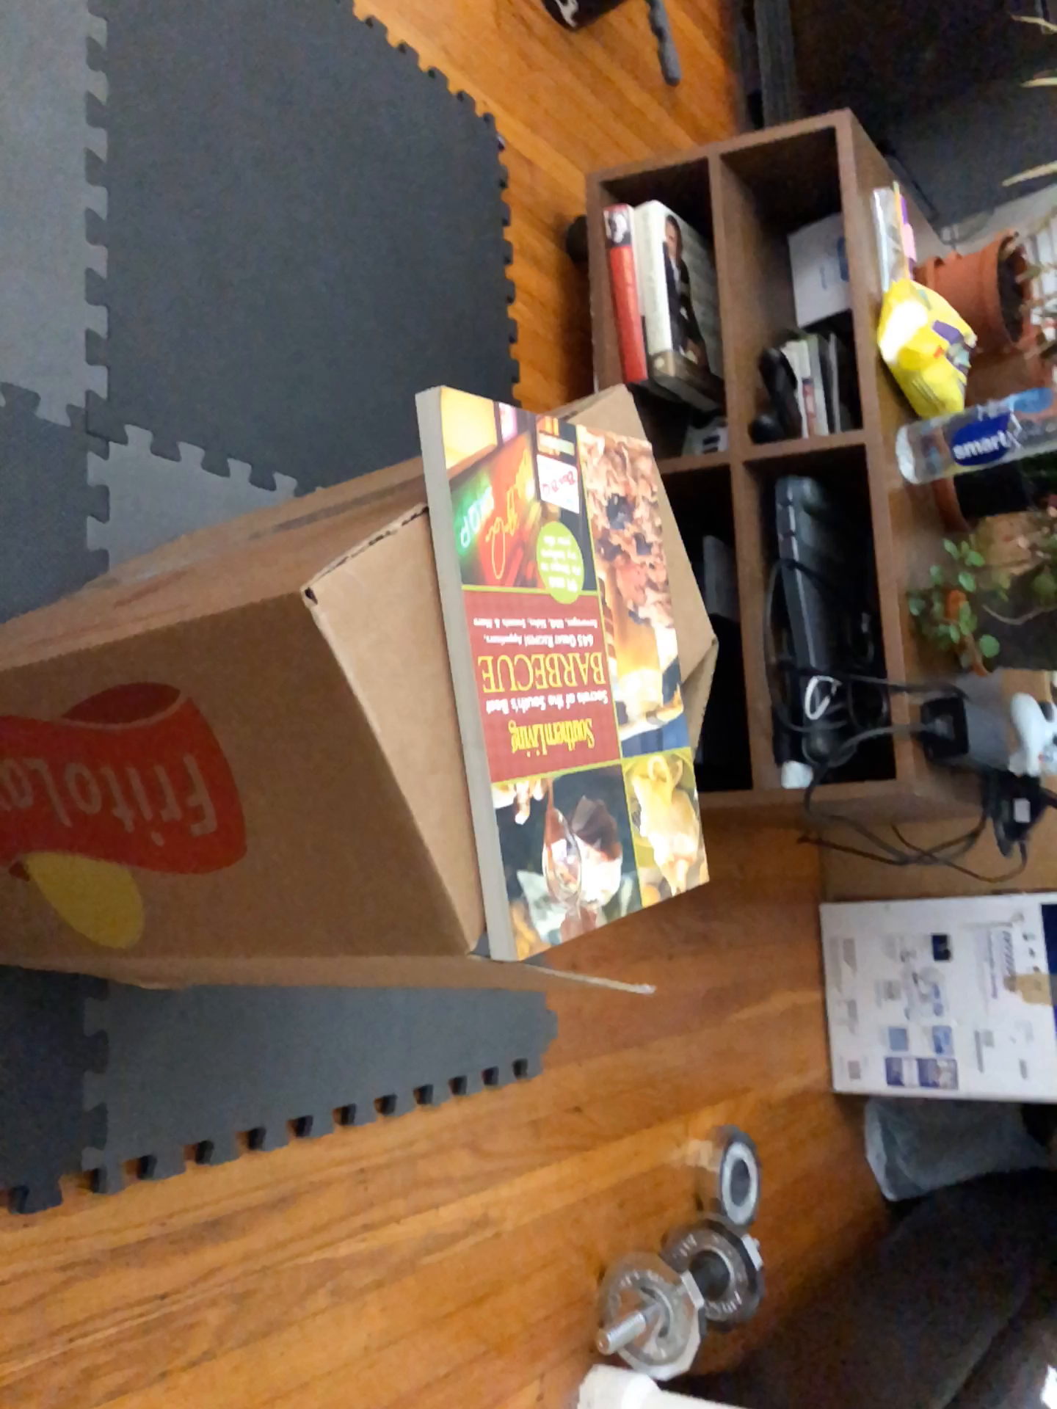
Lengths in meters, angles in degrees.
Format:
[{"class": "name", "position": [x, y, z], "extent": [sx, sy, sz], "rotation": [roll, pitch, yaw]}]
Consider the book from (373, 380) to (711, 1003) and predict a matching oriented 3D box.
[{"class": "book", "position": [0.019, -0.012, 0.630], "extent": [0.221, 0.020, 0.290], "rotation": [-5, 86, -55]}]
